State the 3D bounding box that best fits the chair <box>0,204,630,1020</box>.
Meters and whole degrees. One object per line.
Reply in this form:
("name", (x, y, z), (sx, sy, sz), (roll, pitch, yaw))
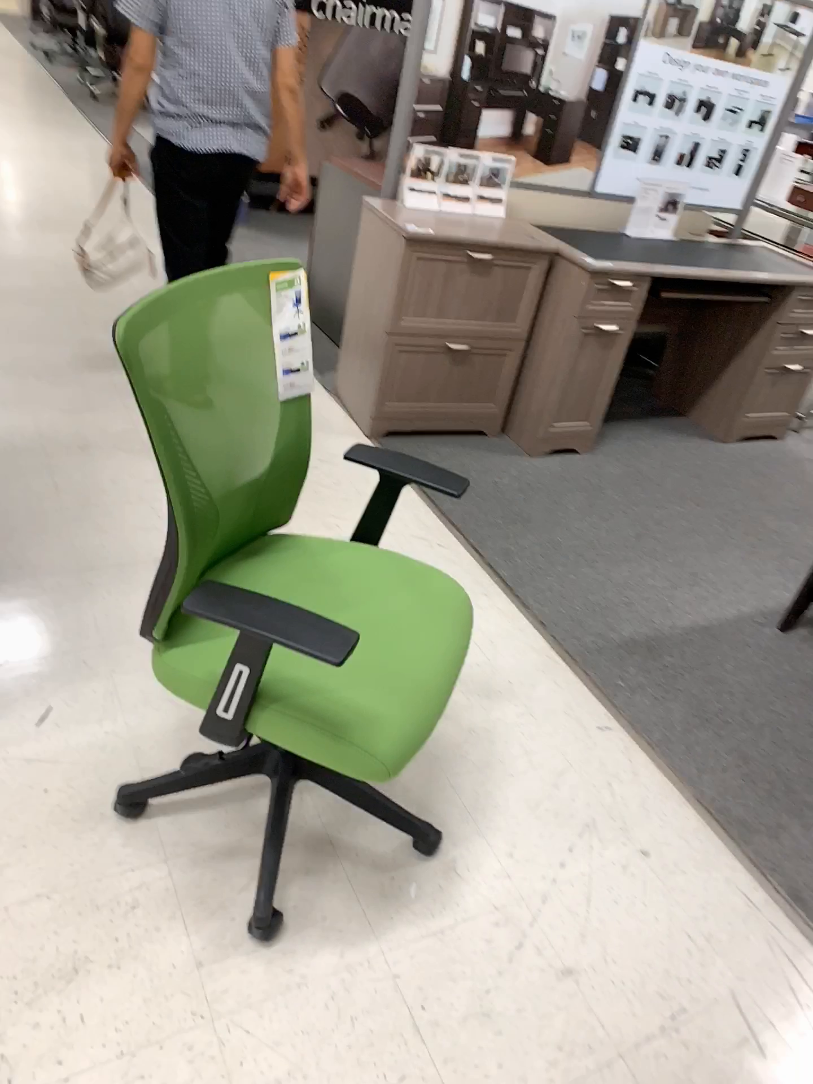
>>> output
("chair", (-0.146, 0.081, 1.379), (0.670, 0.995, 0.673), (19, 33, 9))
